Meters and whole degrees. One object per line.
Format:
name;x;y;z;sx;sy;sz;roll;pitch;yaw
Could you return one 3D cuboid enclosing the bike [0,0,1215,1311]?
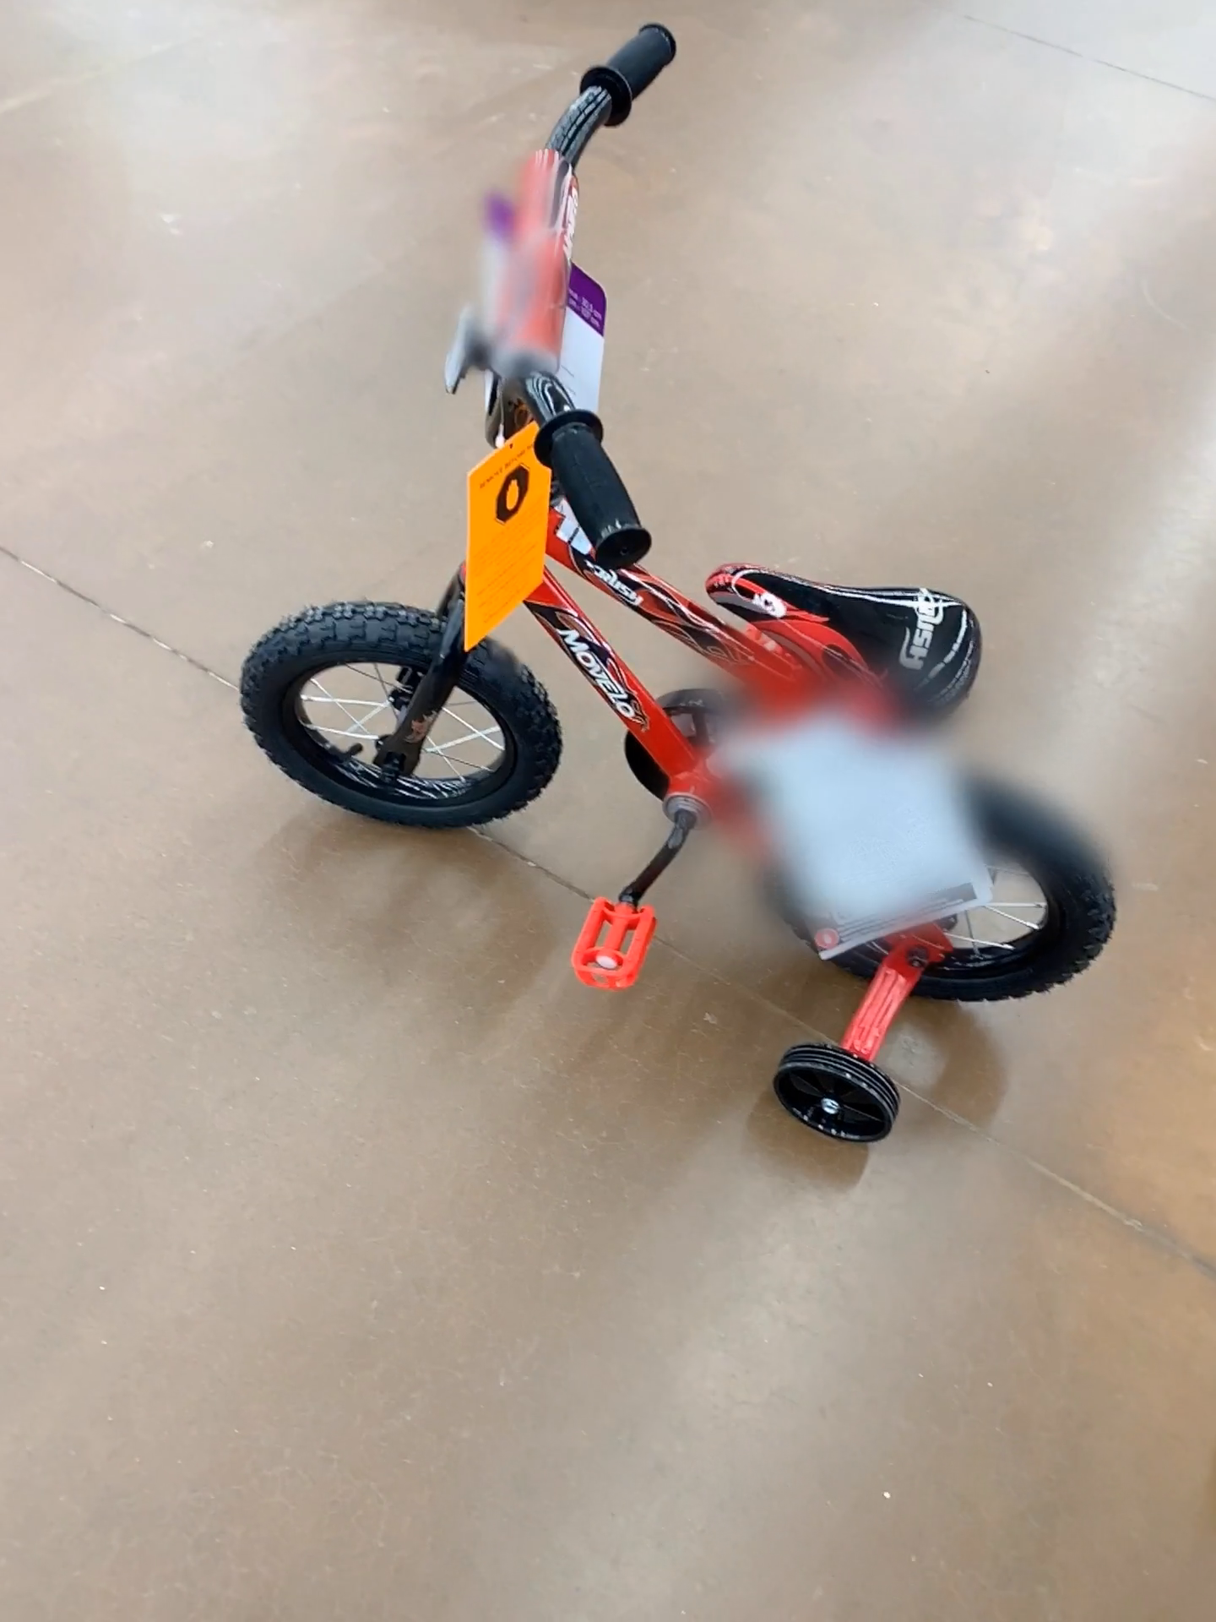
bike;0.066;-0.099;0.819;0.703;0.626;0.459;18;51;2
